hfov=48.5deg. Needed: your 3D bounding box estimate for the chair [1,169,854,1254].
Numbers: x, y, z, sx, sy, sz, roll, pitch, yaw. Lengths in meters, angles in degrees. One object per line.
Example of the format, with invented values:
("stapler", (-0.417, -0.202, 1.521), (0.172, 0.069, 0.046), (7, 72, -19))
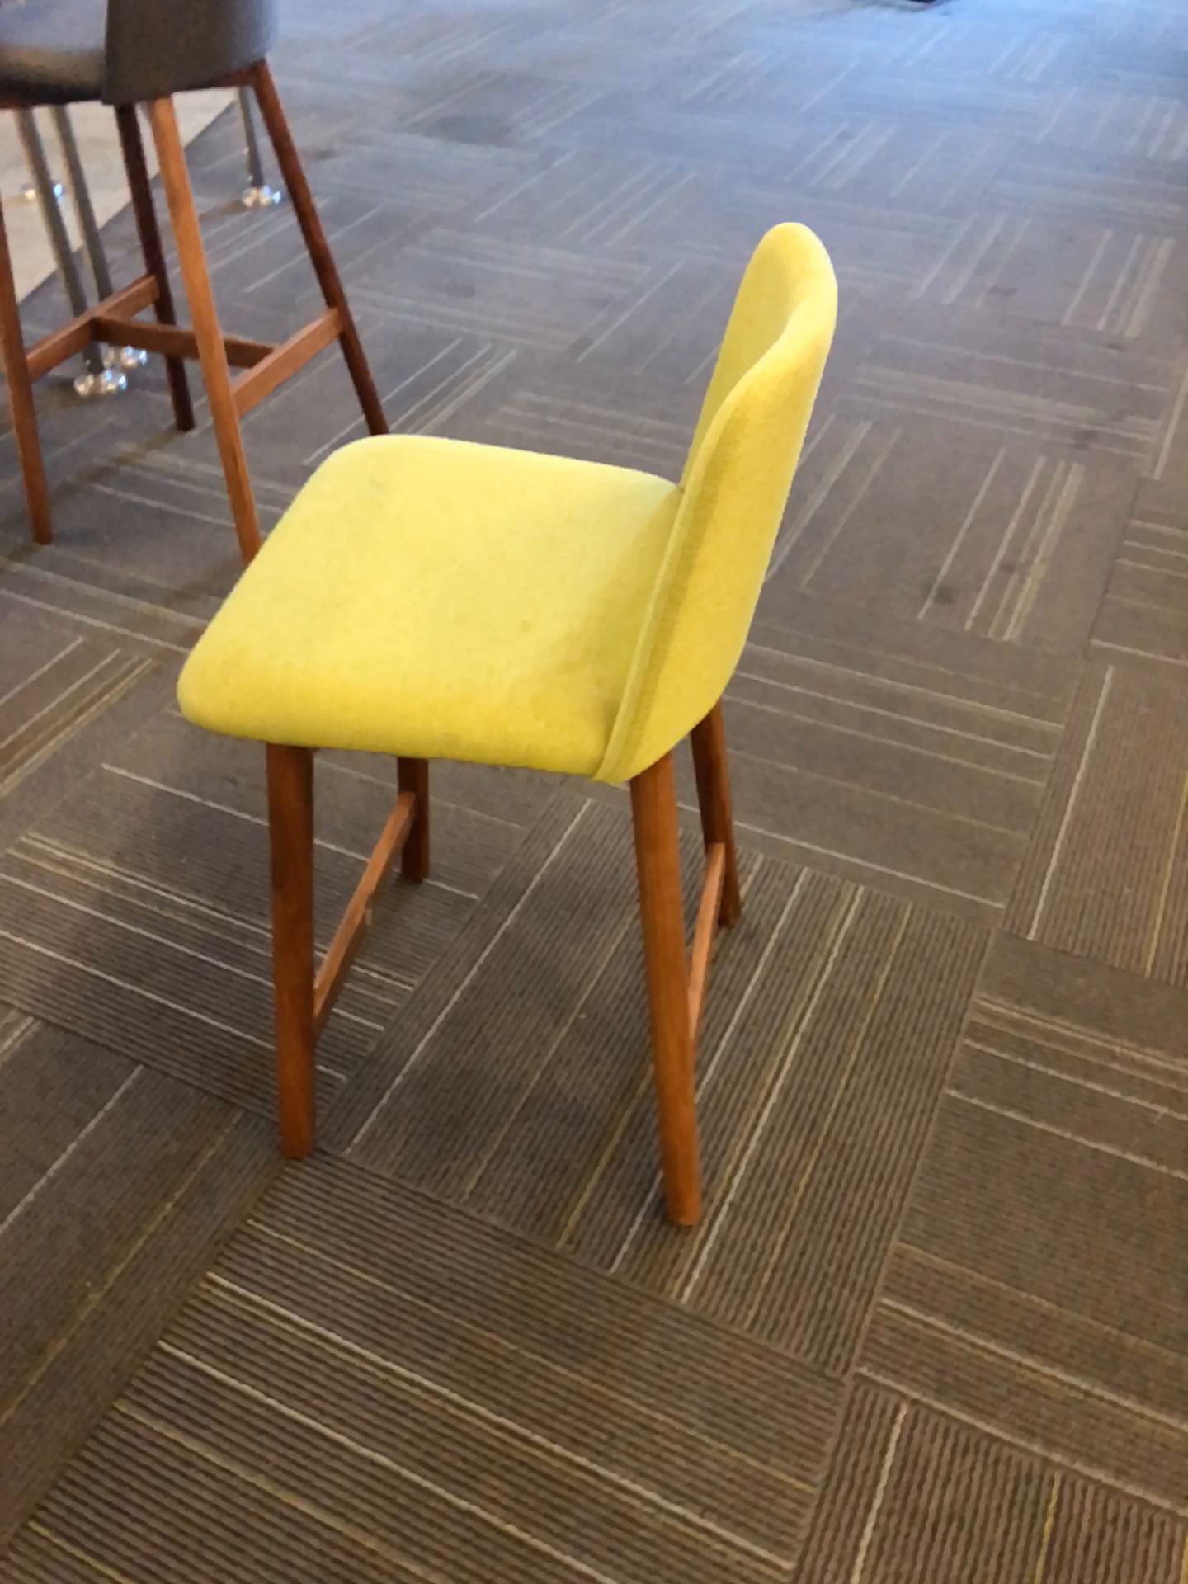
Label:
("chair", (-0.074, -0.041, 1.246), (0.510, 0.876, 0.462), (7, 42, 8))
